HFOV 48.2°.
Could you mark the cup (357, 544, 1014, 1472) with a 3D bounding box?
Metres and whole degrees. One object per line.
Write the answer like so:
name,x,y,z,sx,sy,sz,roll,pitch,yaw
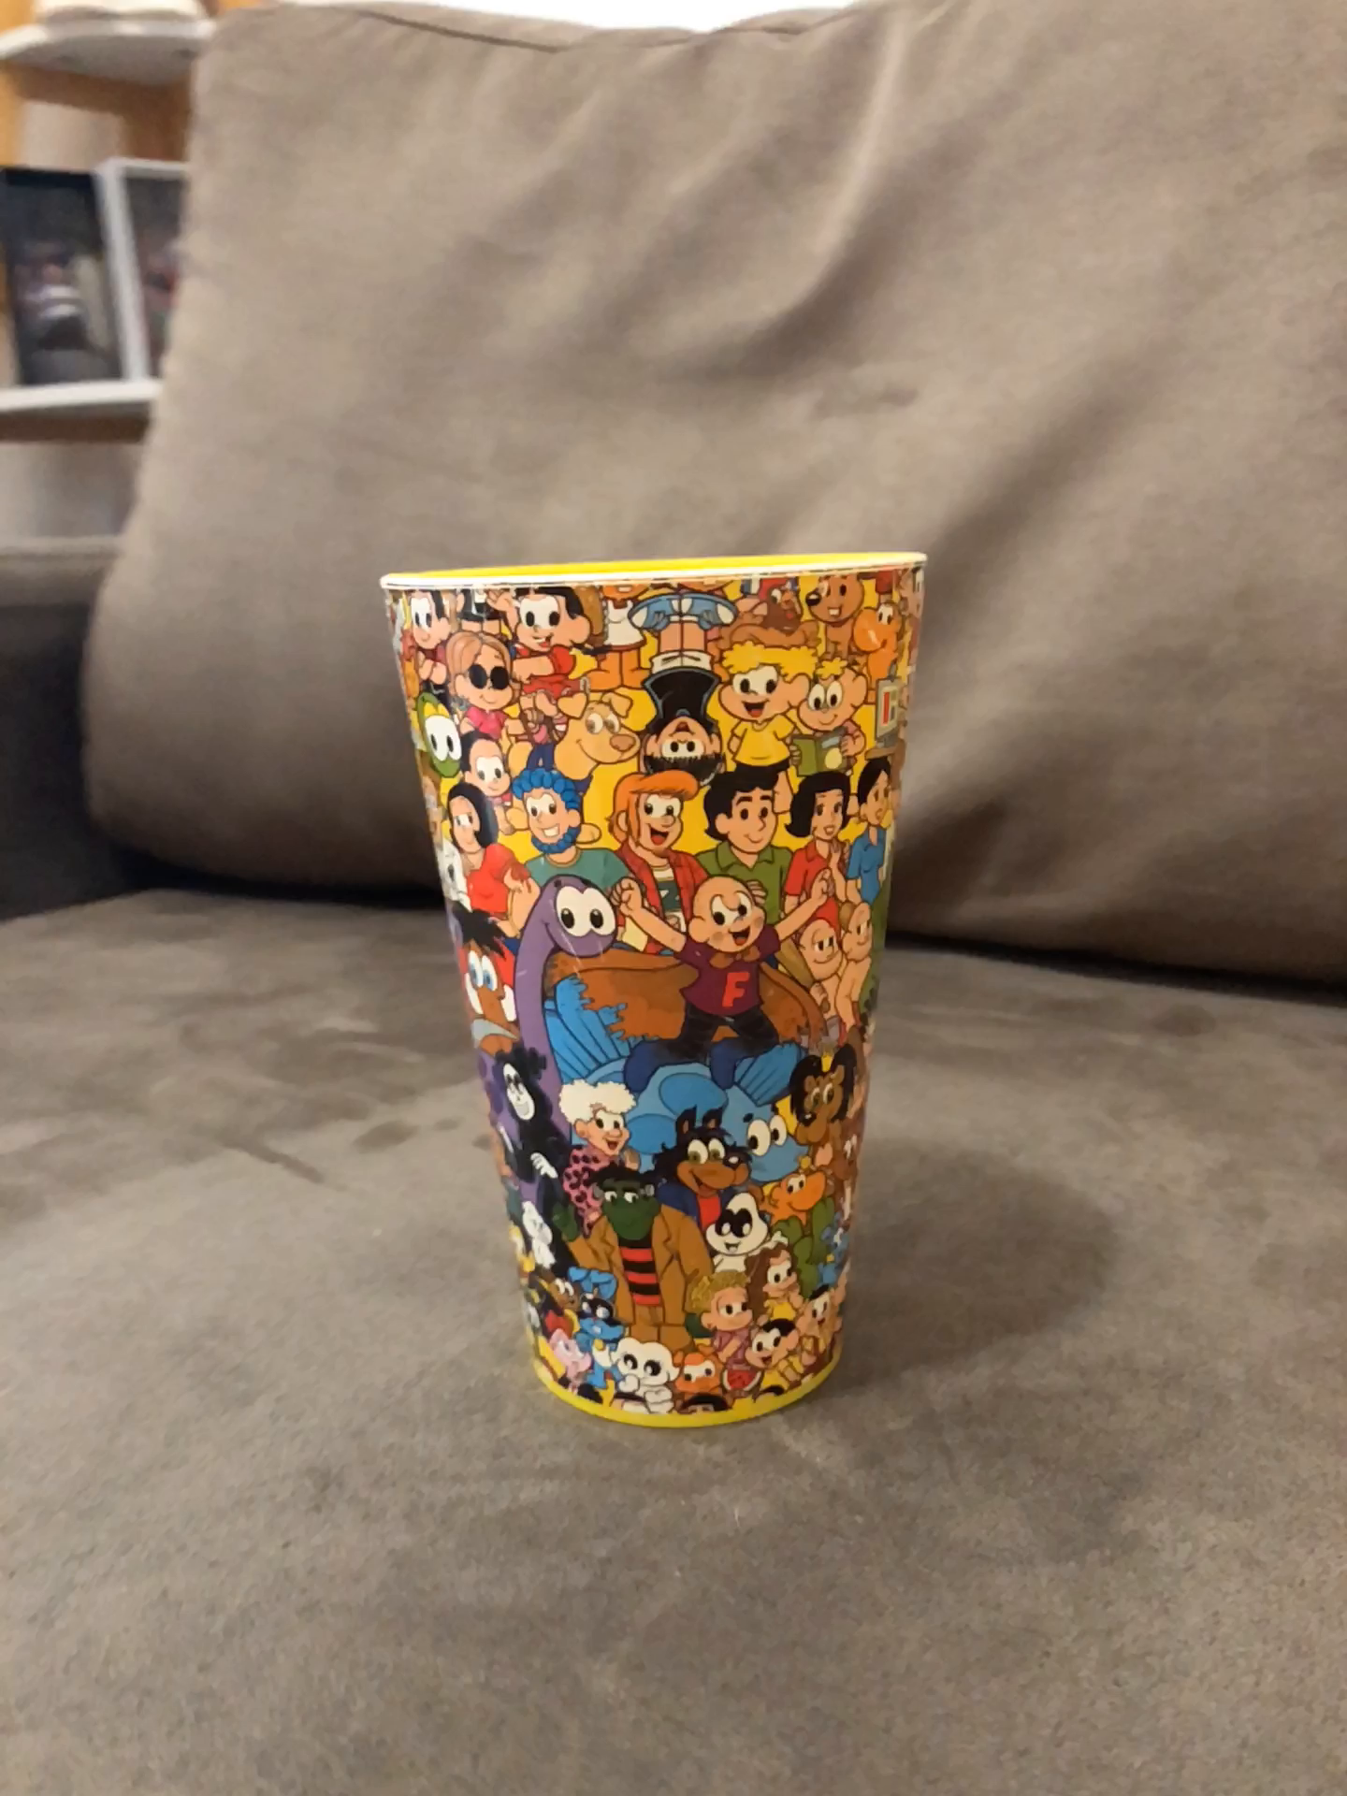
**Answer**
cup,-0.001,0.009,0.280,0.090,0.139,0.090,-2,12,0
